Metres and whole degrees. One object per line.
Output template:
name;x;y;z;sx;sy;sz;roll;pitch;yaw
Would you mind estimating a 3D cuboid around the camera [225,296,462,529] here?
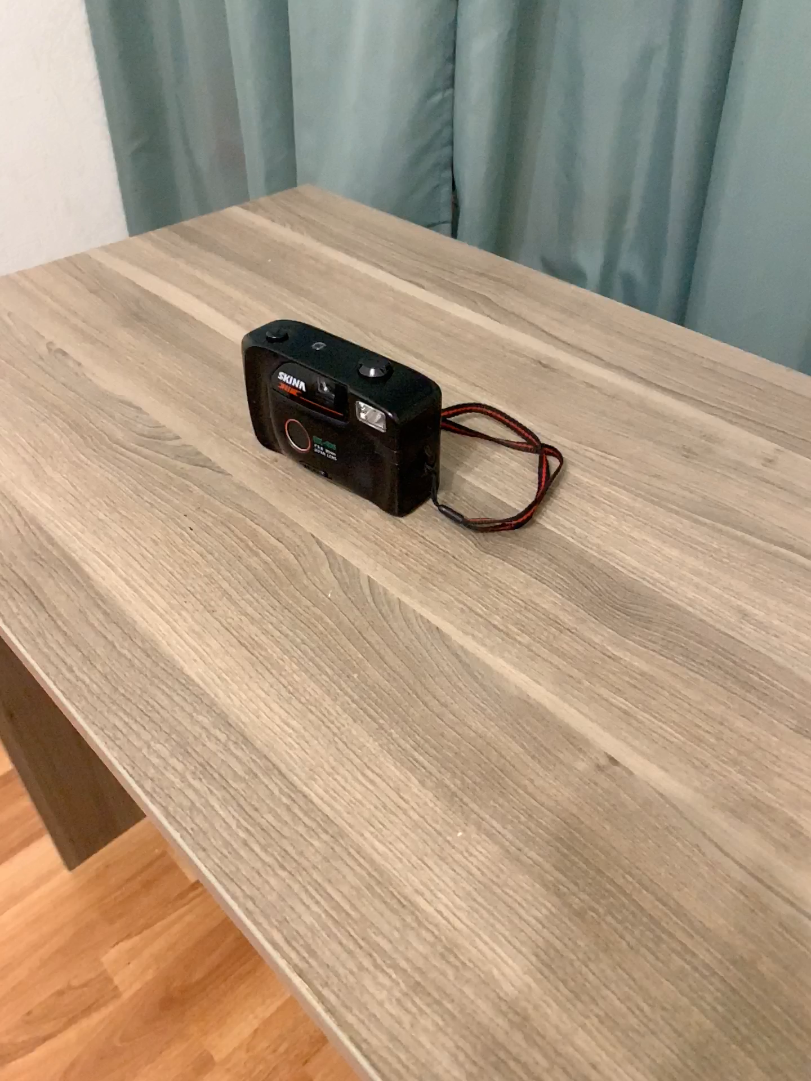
camera;-0.035;-0.070;0.437;0.120;0.069;0.045;31;47;29
